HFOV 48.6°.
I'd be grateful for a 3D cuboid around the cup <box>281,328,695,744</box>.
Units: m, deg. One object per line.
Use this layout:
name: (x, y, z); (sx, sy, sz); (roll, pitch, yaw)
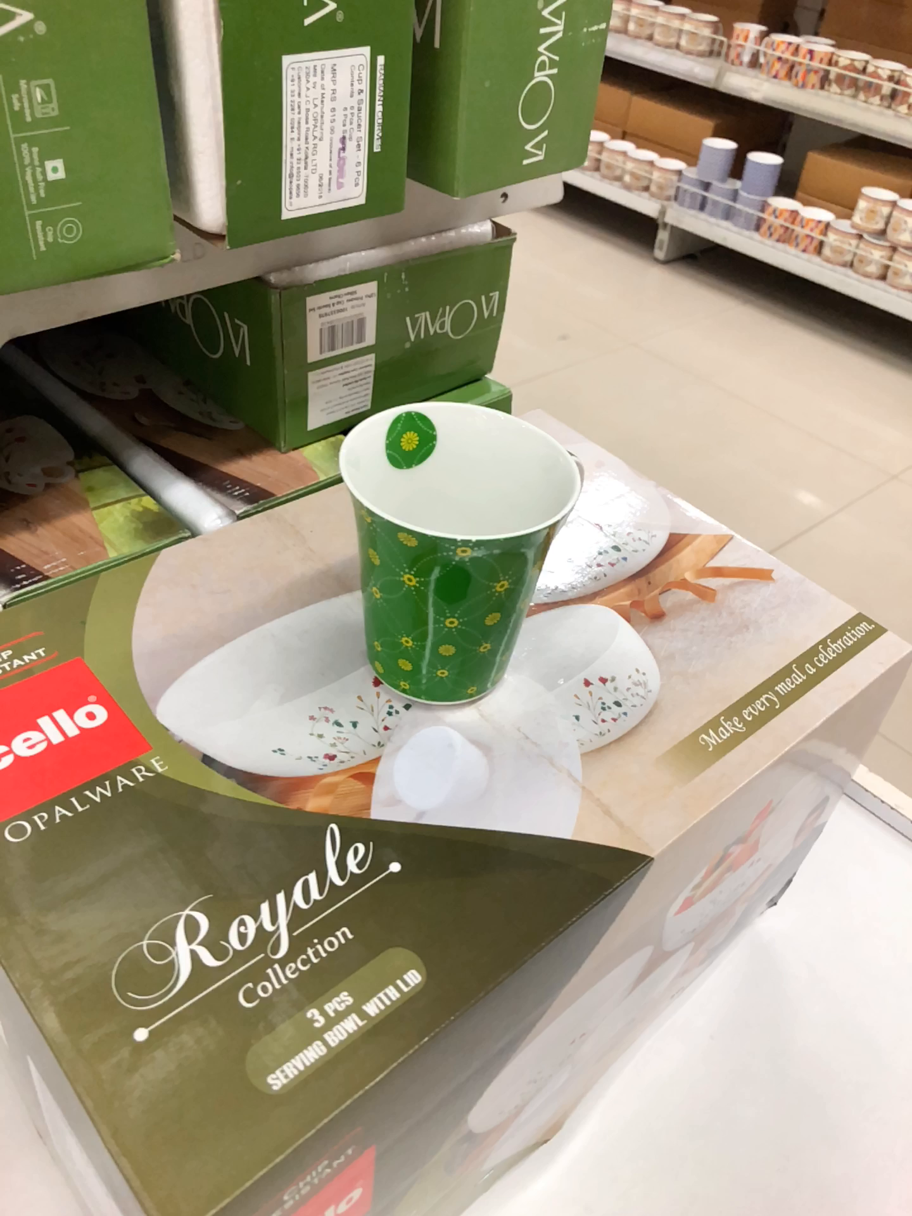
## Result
cup: (0.008, -0.032, 0.372); (0.111, 0.089, 0.090); (-26, 49, -34)
